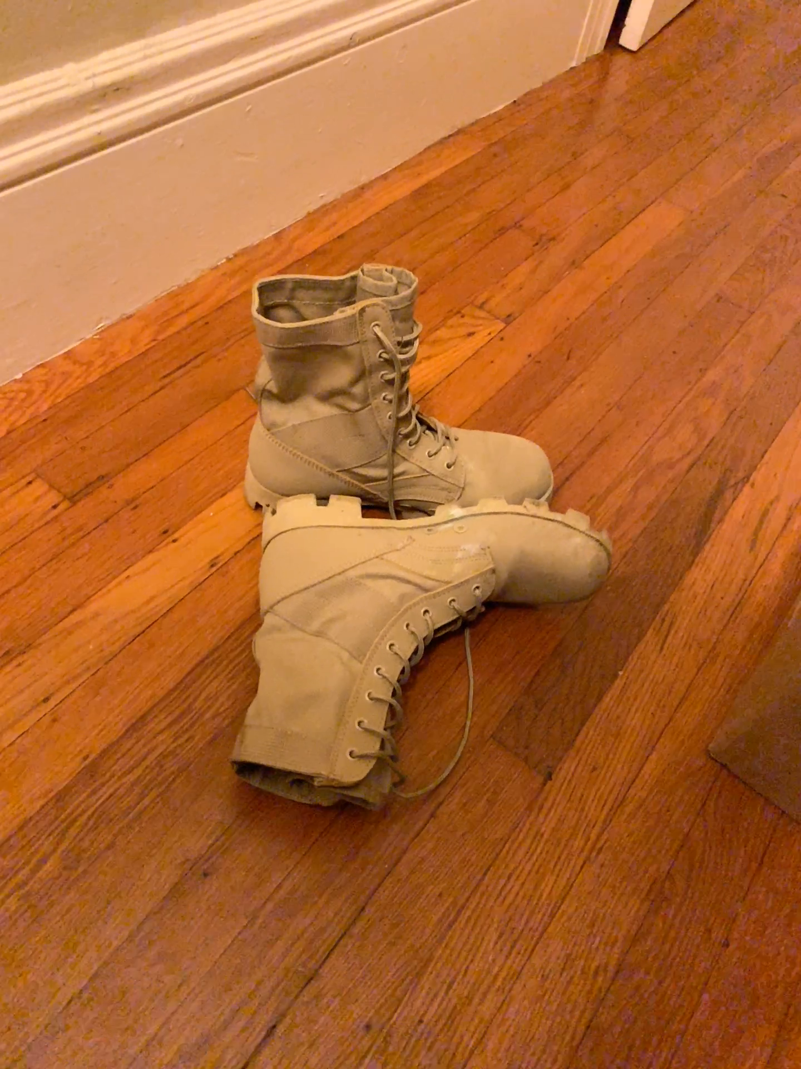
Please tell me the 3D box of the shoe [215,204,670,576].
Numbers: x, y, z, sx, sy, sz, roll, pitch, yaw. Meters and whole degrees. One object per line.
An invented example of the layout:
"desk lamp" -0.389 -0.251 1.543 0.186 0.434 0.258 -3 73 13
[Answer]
"shoe" 0.017 -0.109 0.670 0.300 0.199 0.191 4 53 -7

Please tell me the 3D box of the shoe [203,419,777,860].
"shoe" 0.046 0.063 0.566 0.310 0.120 0.251 6 45 -5
